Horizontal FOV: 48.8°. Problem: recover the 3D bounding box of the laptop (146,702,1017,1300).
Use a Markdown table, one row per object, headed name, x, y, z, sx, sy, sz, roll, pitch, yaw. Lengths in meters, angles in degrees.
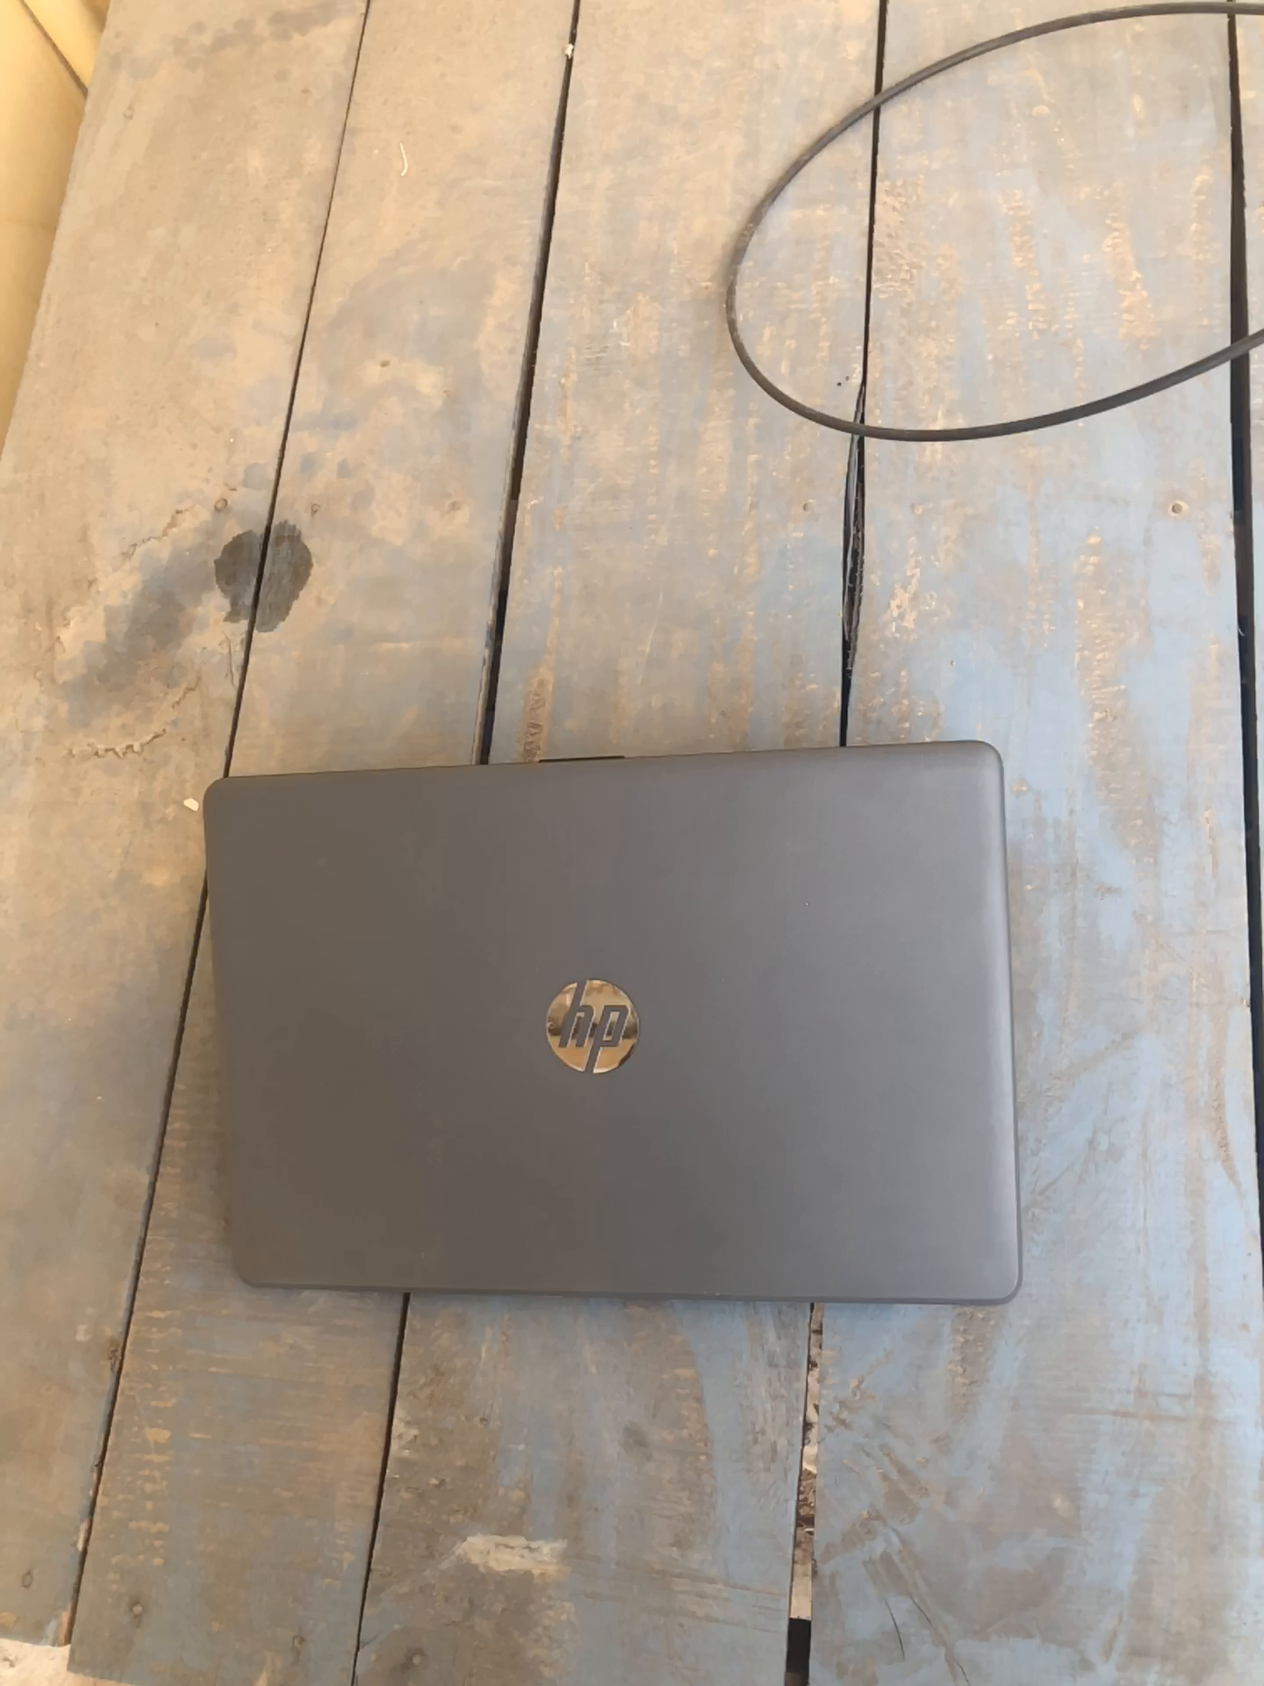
| name | x | y | z | sx | sy | sz | roll | pitch | yaw |
| --- | --- | --- | --- | --- | --- | --- | --- | --- | --- |
| laptop | -0.019 | 0.076 | 0.641 | 0.361 | 0.096 | 0.243 | -2 | 73 | 11 |
